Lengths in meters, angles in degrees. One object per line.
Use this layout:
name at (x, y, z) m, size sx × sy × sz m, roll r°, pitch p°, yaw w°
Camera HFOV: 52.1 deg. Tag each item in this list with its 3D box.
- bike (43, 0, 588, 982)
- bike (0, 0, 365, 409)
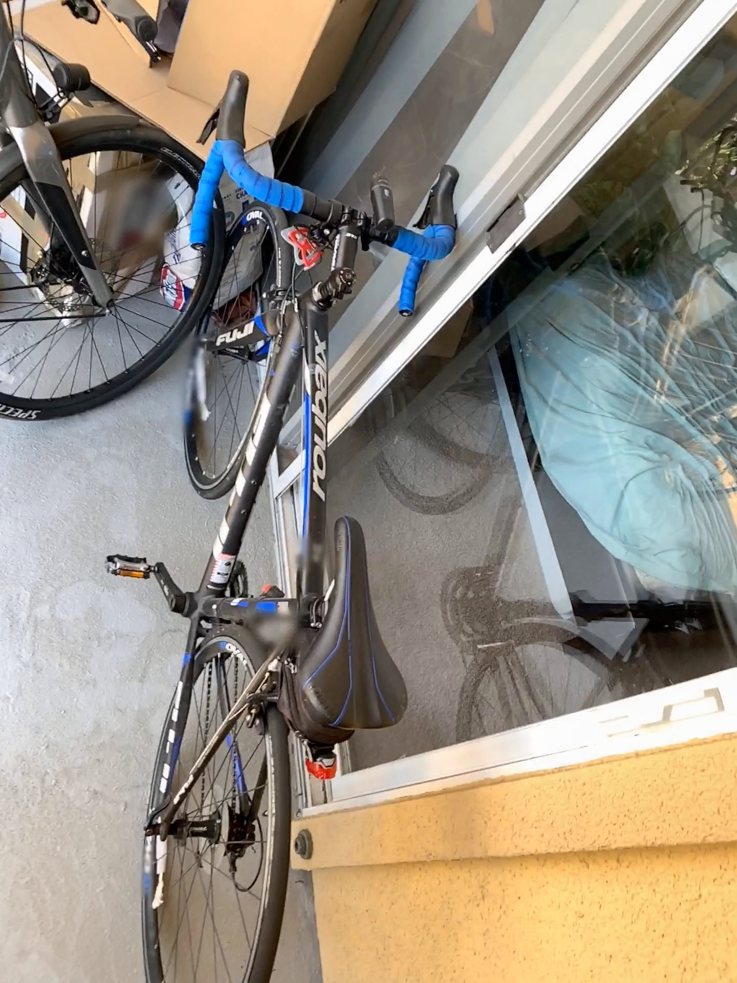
bike at (-0.181, 0.072, 1.263) m, size 0.363 × 0.934 × 1.503 m, roll 10°, pitch 65°, yaw -26°
bike at (-0.950, -0.642, 1.167) m, size 1.587 × 0.973 × 0.622 m, roll -4°, pitch 68°, yaw -34°
